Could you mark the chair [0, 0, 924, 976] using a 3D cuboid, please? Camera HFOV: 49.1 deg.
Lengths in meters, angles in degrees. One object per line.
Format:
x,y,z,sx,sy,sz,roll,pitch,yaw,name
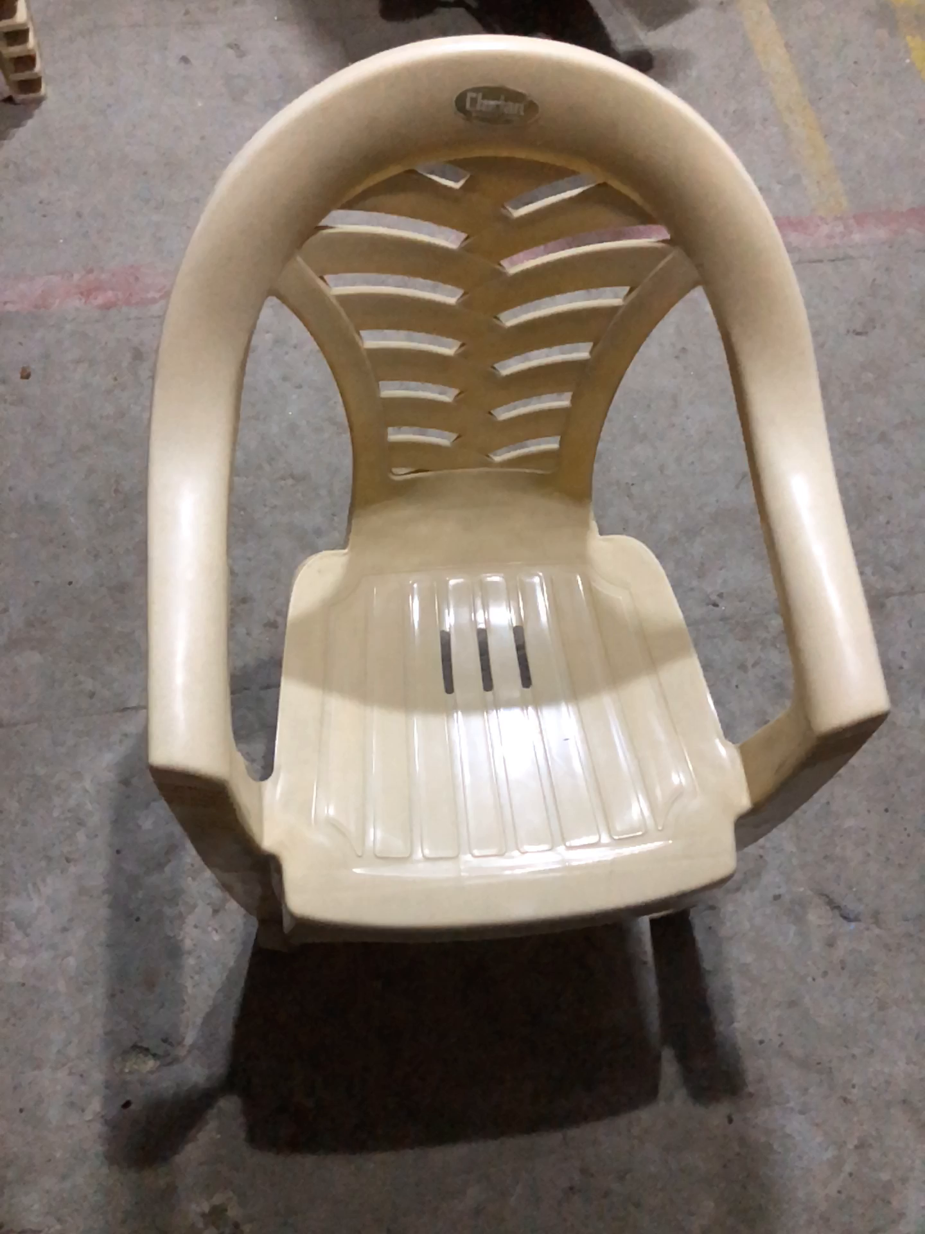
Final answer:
0.031,0.000,0.914,0.560,0.867,0.561,-1,69,-6,chair
